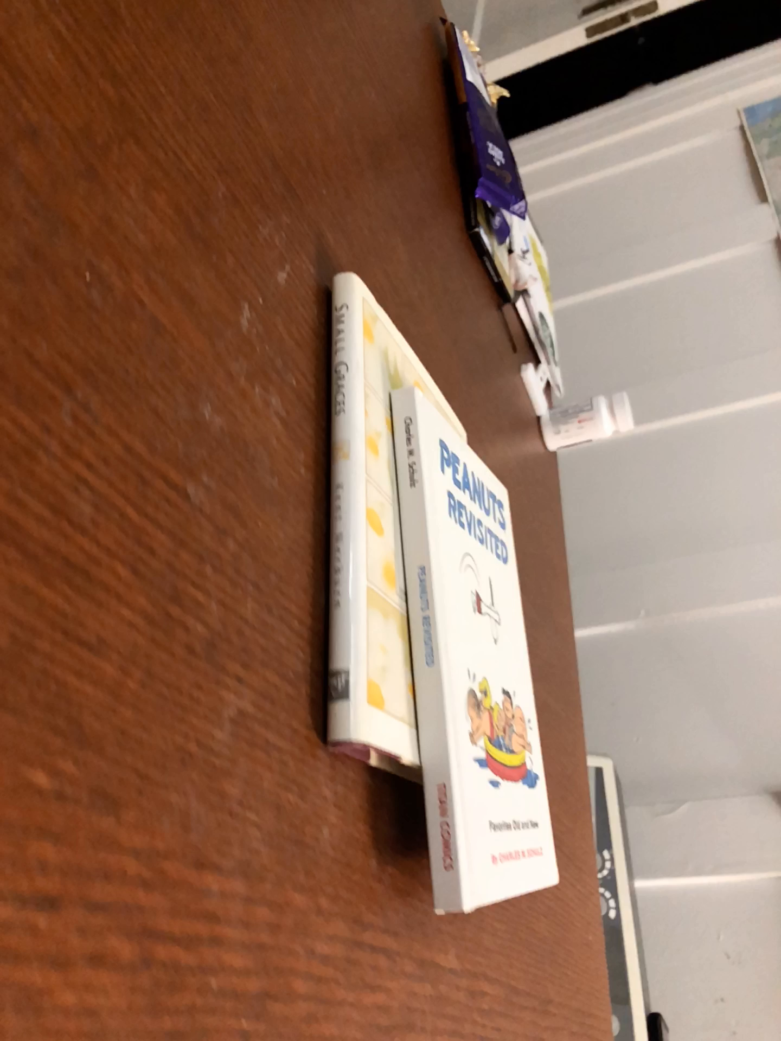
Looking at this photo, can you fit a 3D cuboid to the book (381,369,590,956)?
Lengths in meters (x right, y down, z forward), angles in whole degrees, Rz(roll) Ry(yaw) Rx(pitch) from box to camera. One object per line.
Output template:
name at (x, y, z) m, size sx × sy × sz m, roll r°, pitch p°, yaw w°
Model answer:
book at (0.046, 0.062, 0.384) m, size 0.161 × 0.020 × 0.210 m, roll 34°, pitch 47°, yaw -61°
